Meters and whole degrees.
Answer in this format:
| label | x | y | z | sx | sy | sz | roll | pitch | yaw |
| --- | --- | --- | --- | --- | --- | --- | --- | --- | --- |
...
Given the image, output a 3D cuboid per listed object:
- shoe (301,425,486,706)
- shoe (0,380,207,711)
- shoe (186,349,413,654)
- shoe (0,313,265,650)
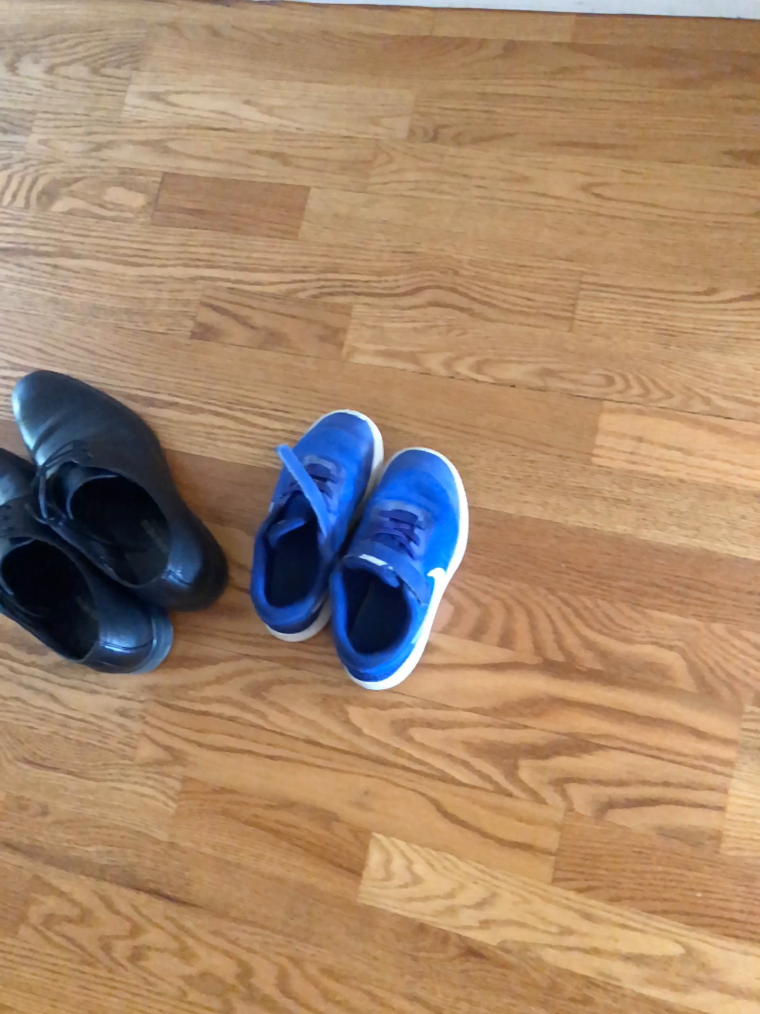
| label | x | y | z | sx | sy | sz | roll | pitch | yaw |
| --- | --- | --- | --- | --- | --- | --- | --- | --- | --- |
| shoe | 0.016 | 0.051 | 0.730 | 0.100 | 0.070 | 0.220 | 12 | 81 | 15 |
| shoe | -0.327 | 0.034 | 0.792 | 0.320 | 0.090 | 0.120 | 42 | 90 | 18 |
| shoe | -0.062 | 0.001 | 0.736 | 0.100 | 0.130 | 0.230 | 15 | 82 | 16 |
| shoe | -0.267 | -0.025 | 0.795 | 0.120 | 0.090 | 0.320 | -44 | 73 | 1 |
